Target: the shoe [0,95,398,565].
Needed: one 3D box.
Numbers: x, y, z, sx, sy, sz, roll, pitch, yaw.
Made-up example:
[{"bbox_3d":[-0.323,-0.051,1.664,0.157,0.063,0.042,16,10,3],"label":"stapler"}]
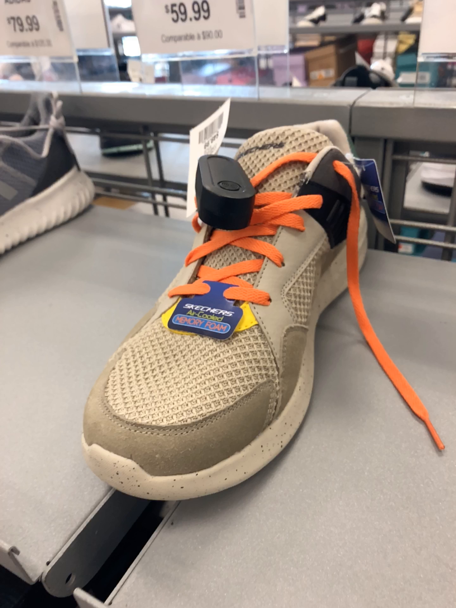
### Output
[{"bbox_3d":[0.005,-0.028,0.304,0.125,0.109,0.282,11,39,24],"label":"shoe"}]
